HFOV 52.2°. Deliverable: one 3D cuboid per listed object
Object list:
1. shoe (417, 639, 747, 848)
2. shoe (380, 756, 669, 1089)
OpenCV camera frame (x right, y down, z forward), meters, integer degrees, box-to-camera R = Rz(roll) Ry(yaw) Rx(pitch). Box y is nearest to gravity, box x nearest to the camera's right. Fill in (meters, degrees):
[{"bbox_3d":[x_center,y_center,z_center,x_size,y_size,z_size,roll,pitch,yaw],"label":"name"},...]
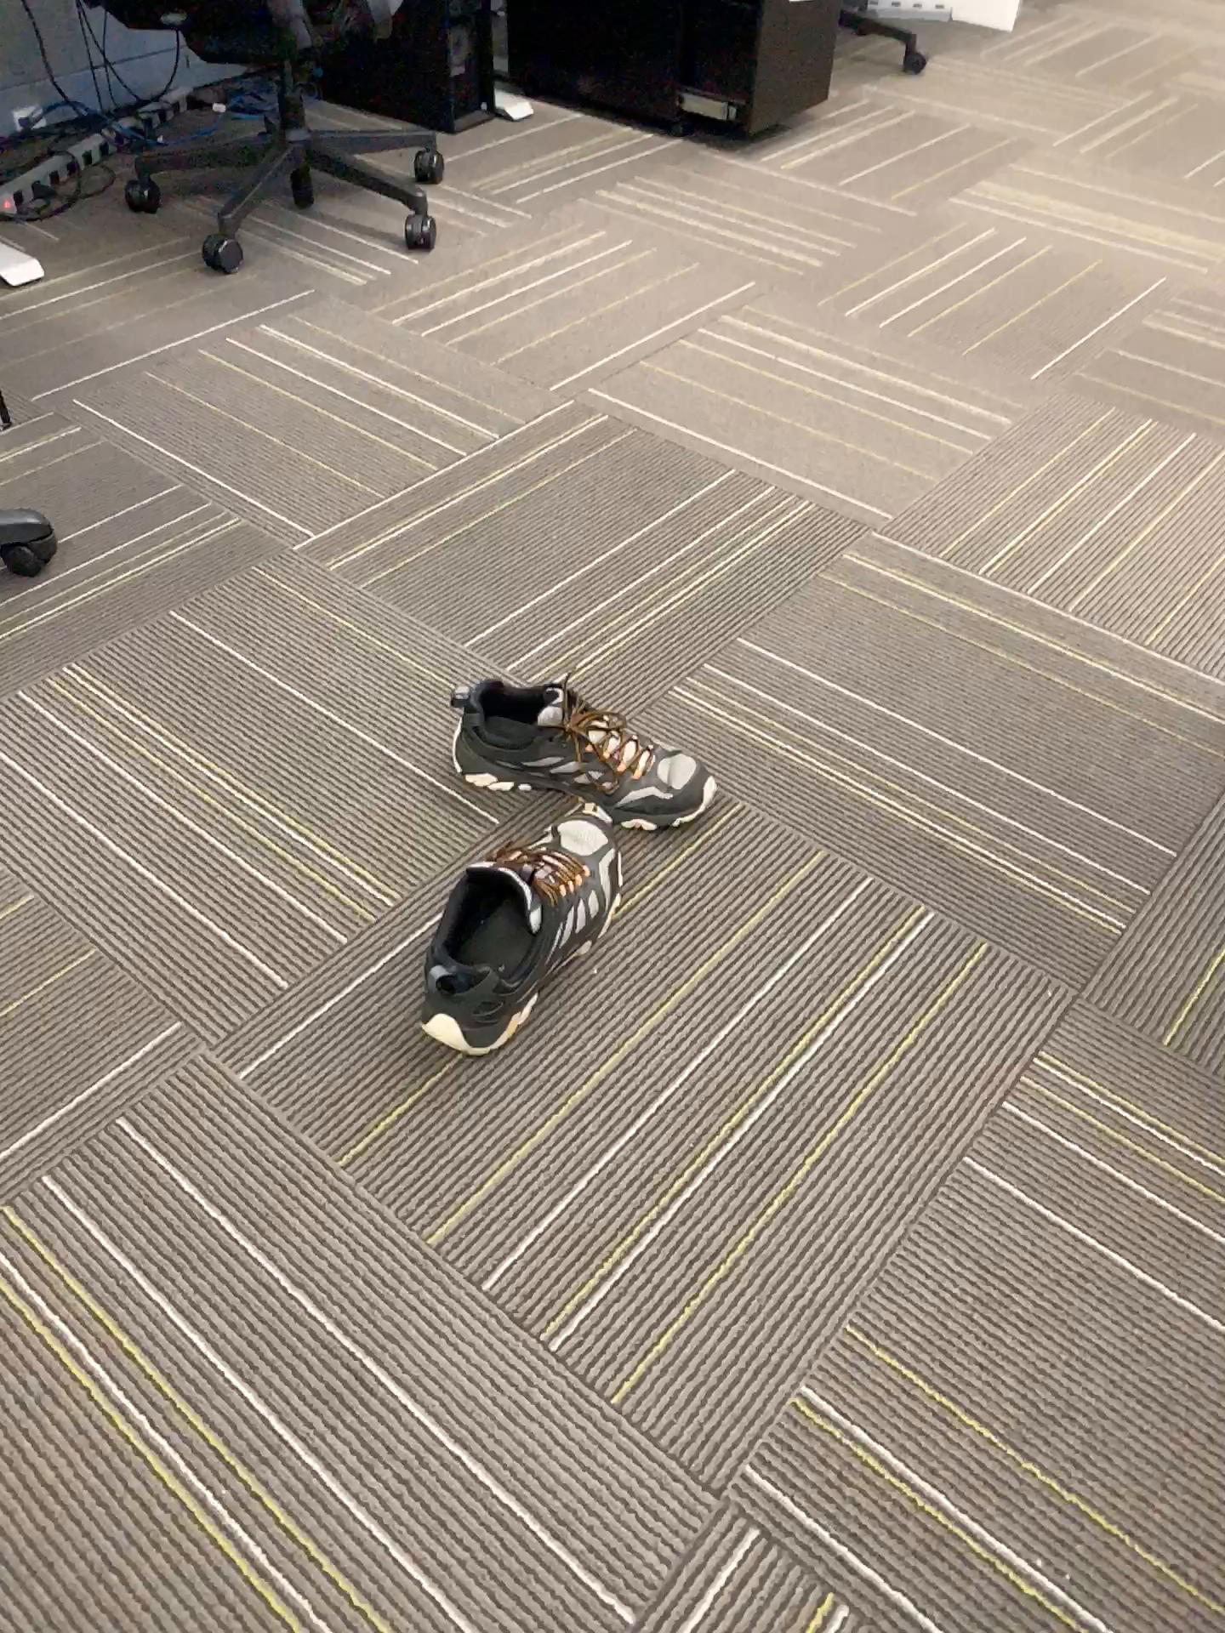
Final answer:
[{"bbox_3d":[-0.035,-0.091,1.473,0.350,0.090,0.151,15,47,13],"label":"shoe"},{"bbox_3d":[-0.082,0.099,1.326,0.150,0.090,0.351,20,48,17],"label":"shoe"}]
